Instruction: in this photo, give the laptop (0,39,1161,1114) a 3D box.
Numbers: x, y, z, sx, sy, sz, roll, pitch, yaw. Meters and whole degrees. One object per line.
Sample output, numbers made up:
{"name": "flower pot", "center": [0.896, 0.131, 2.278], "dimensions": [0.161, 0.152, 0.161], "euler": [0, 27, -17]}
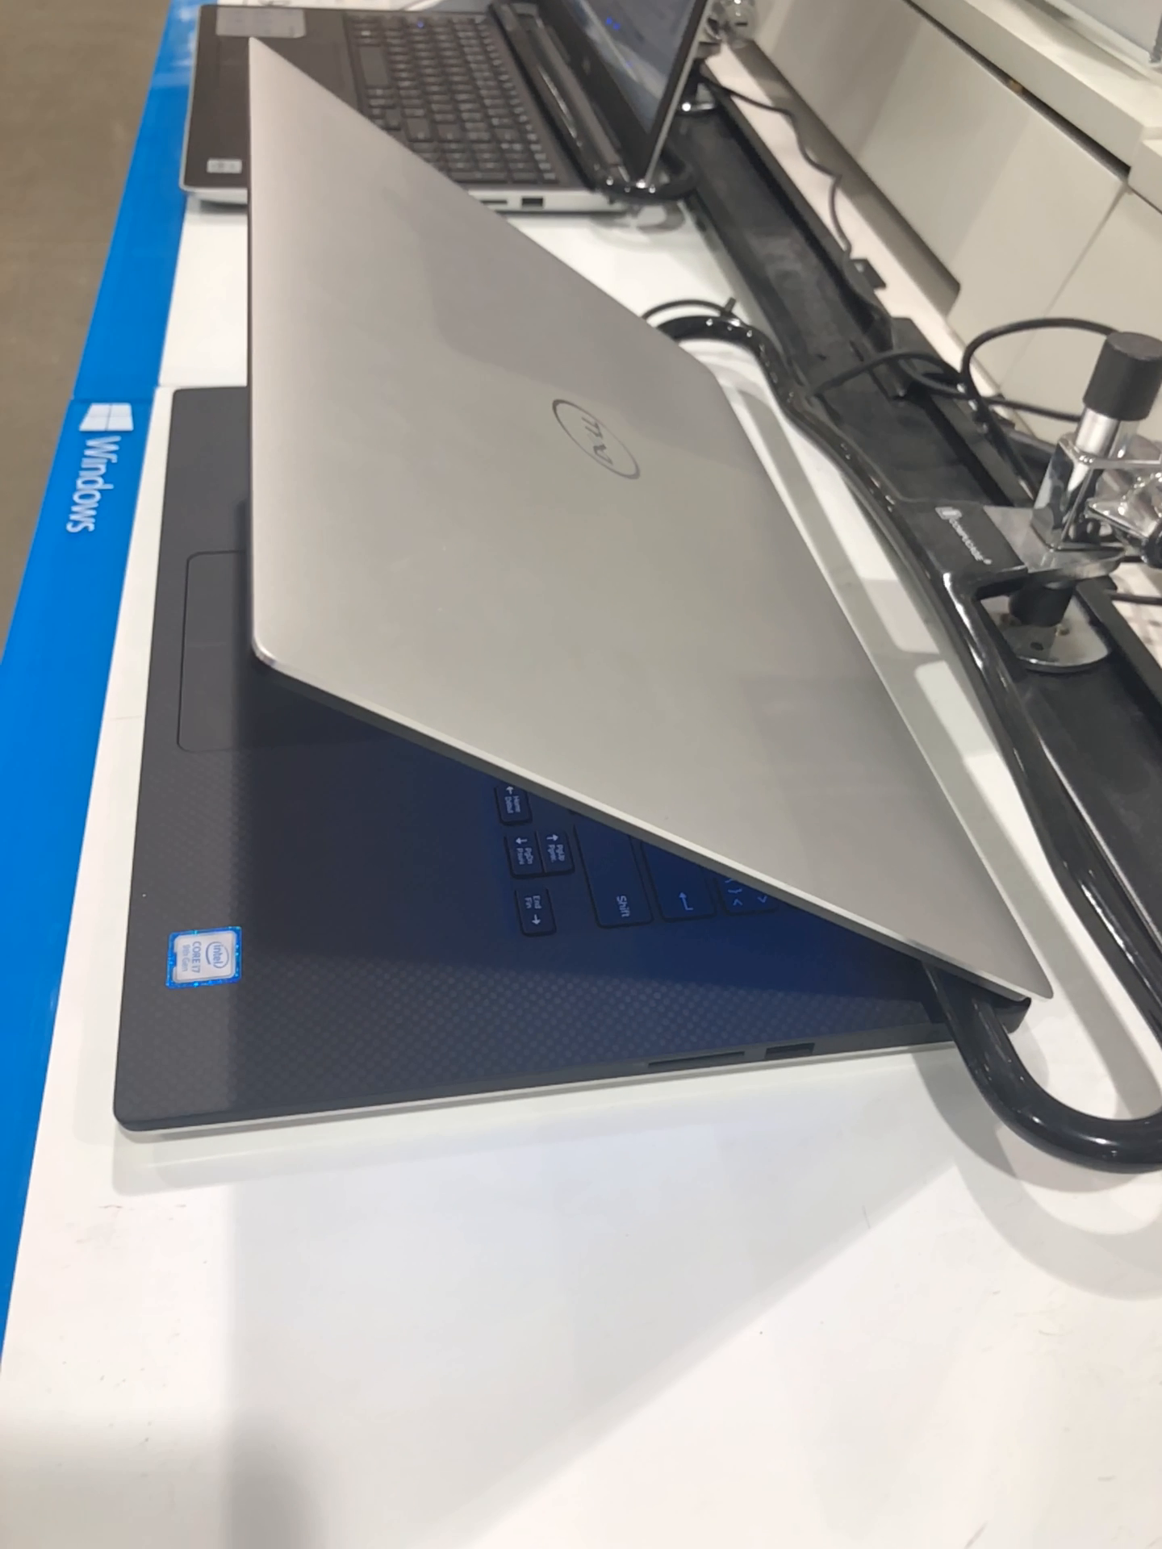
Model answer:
{"name": "laptop", "center": [-0.026, -0.099, 0.391], "dimensions": [0.216, 0.133, 0.347], "euler": [-6, 44, -10]}
